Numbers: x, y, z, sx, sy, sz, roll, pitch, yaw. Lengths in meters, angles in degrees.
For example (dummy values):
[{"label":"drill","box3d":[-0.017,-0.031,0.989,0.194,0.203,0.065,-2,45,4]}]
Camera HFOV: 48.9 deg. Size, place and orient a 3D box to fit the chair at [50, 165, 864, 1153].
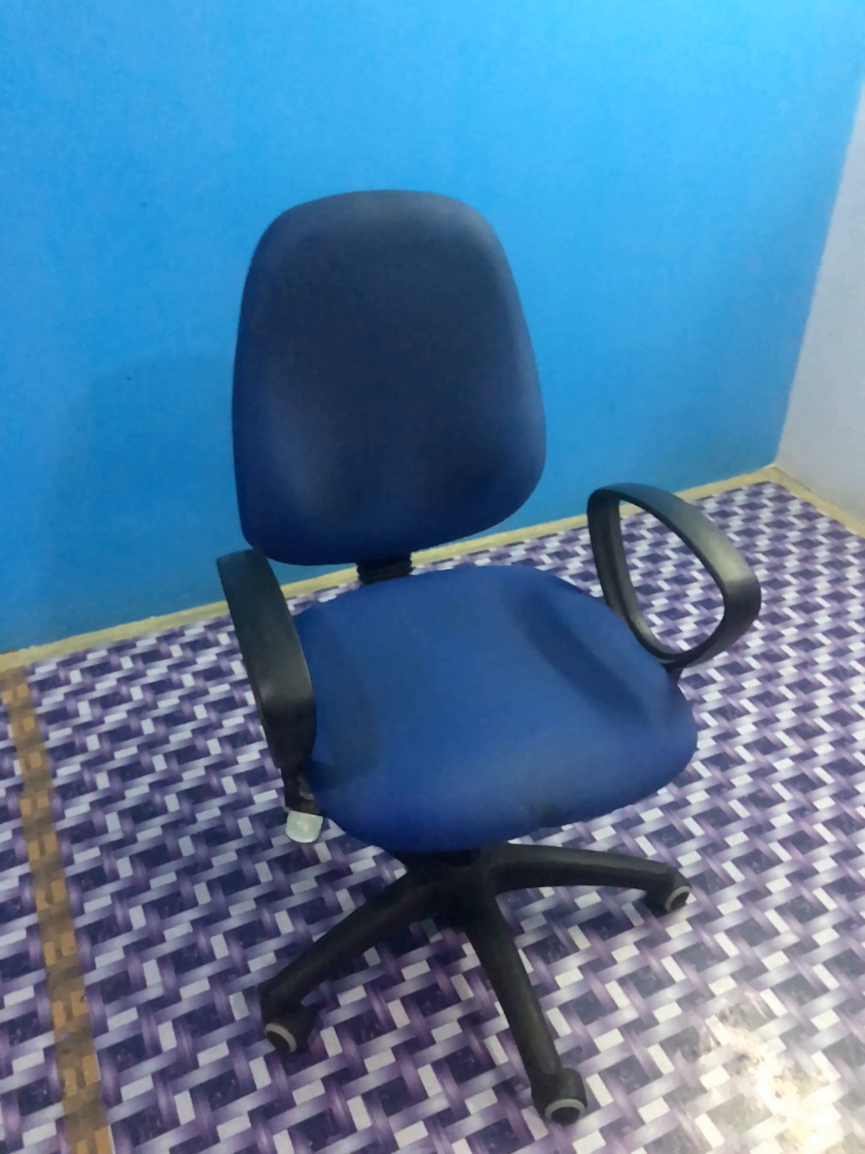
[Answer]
[{"label":"chair","box3d":[0.062,0.083,1.078,0.702,0.875,0.672,-13,36,-22]}]
